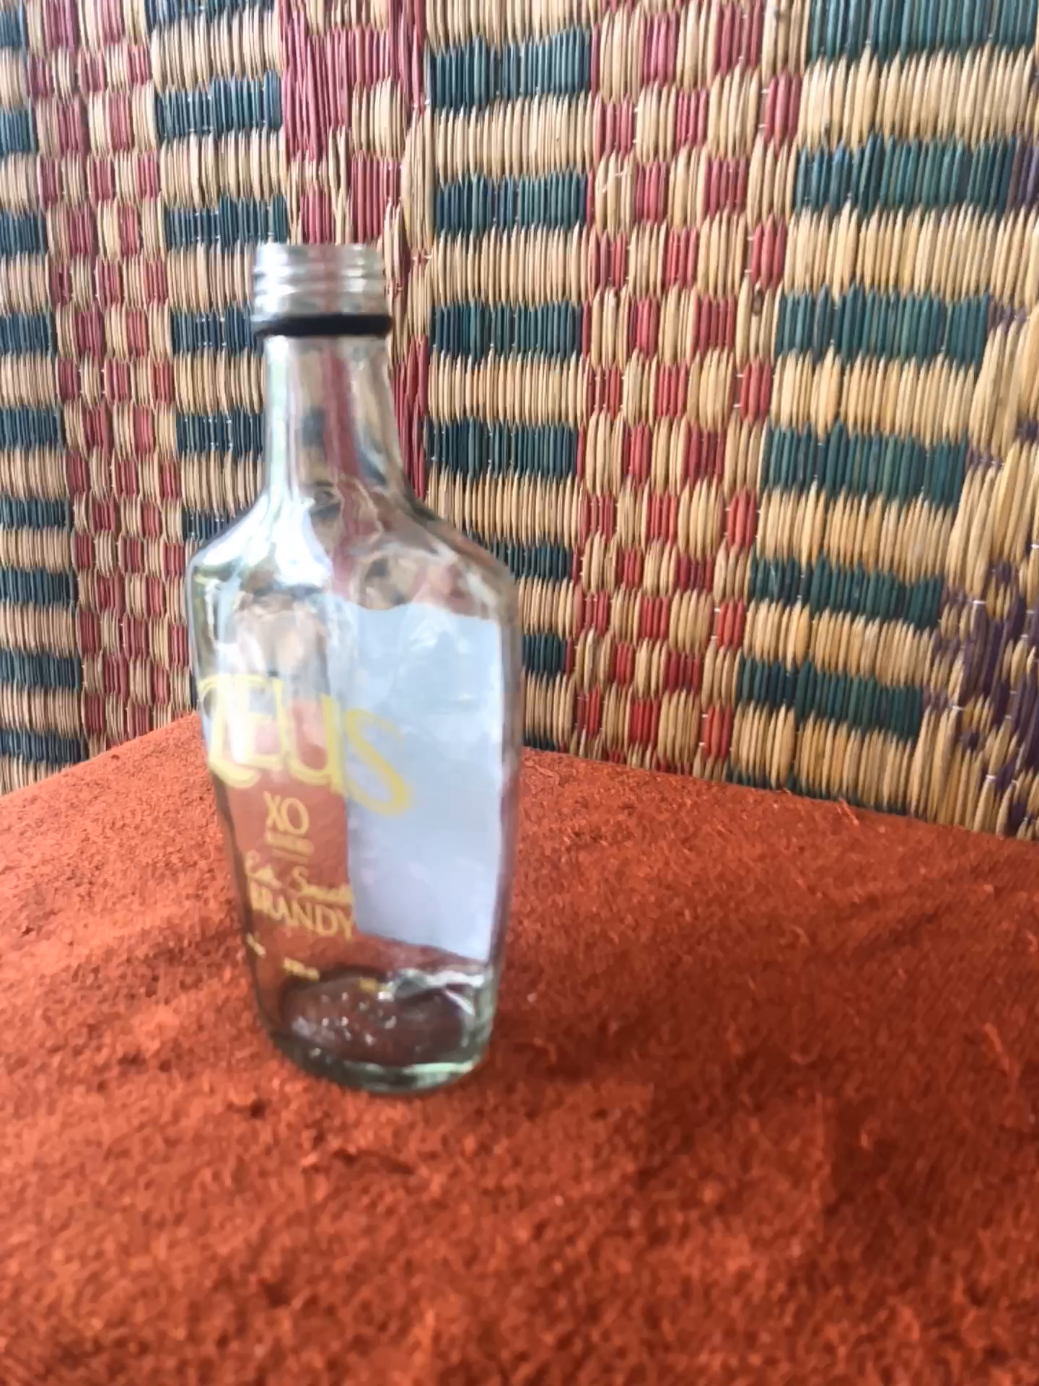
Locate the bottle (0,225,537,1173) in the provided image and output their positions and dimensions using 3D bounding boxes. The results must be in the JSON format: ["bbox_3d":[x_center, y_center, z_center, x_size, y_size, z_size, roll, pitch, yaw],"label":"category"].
[{"bbox_3d":[-0.042,-0.002,0.207,0.080,0.149,0.040,13,24,35],"label":"bottle"}]
